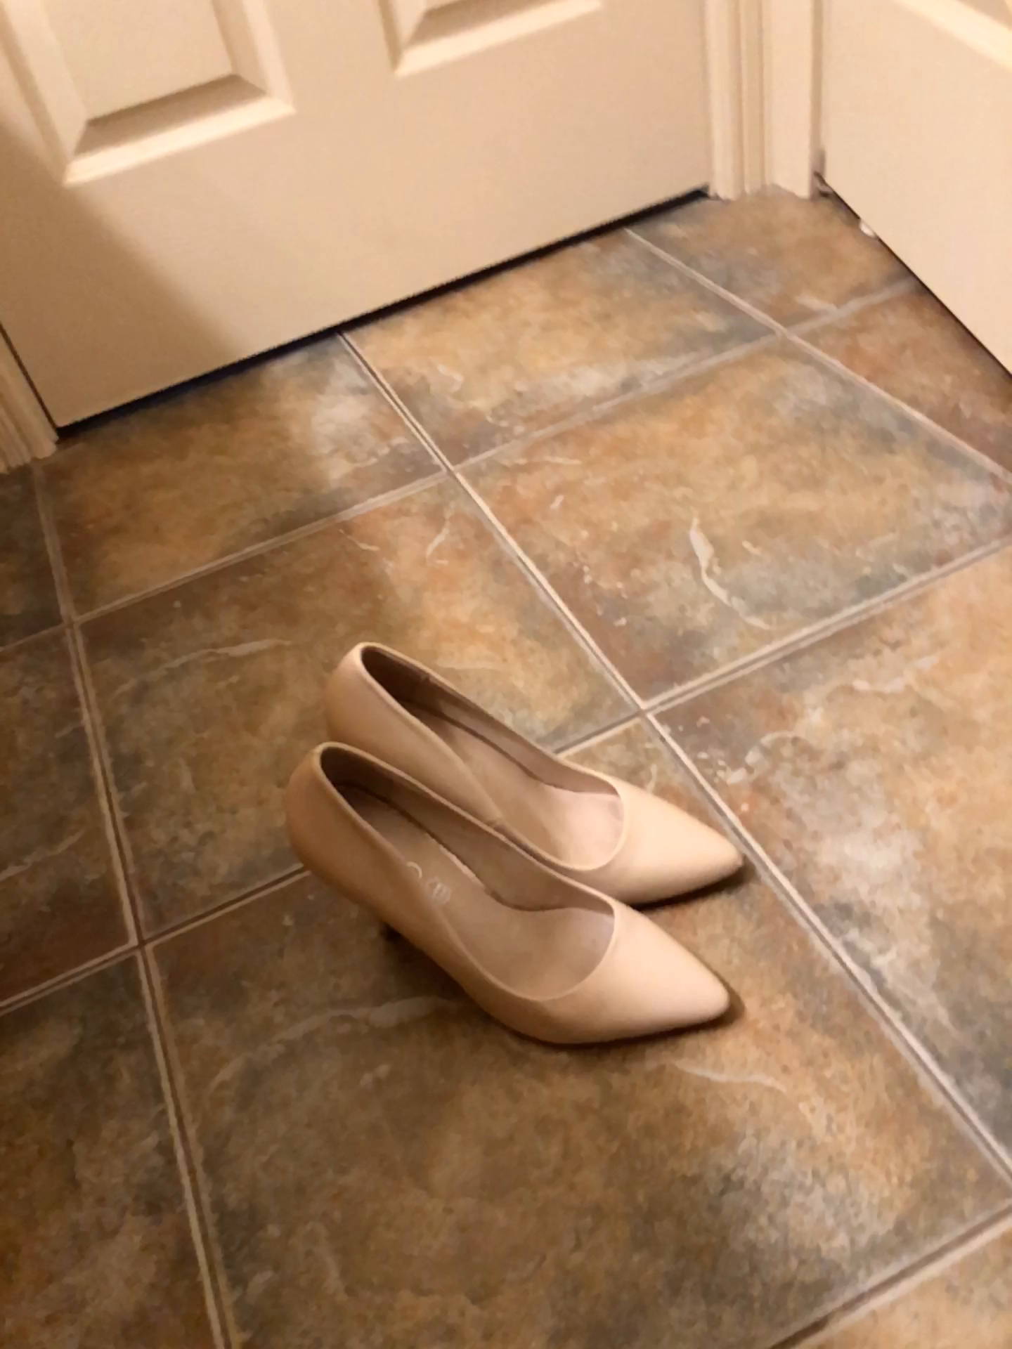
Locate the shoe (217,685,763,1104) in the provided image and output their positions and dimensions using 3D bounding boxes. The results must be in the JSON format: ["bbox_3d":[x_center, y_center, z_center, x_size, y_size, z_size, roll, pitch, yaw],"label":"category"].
[{"bbox_3d":[0.000,0.104,0.540,0.230,0.149,0.080,10,48,23],"label":"shoe"}]

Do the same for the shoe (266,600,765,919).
[{"bbox_3d":[0.012,0.042,0.581,0.230,0.129,0.080,4,46,19],"label":"shoe"}]
